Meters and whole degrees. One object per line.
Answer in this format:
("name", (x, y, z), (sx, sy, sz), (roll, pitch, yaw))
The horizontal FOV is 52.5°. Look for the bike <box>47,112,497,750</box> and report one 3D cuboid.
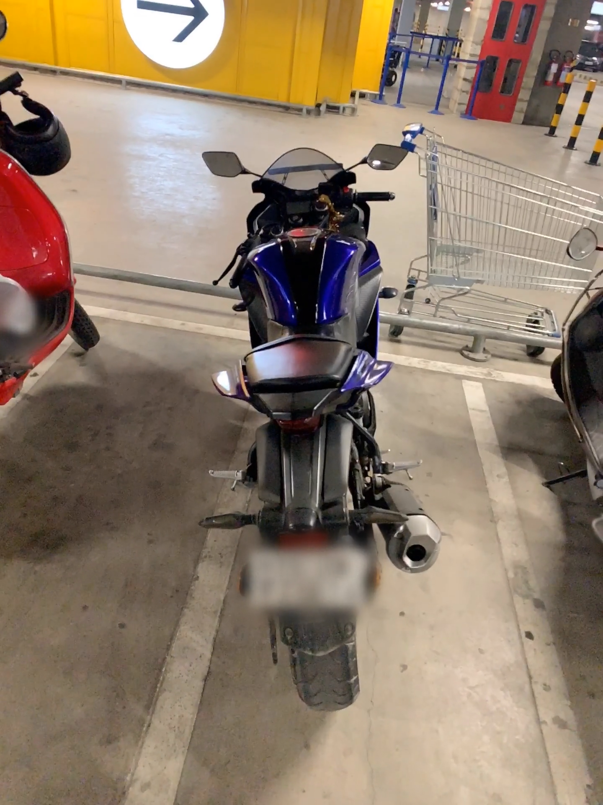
("bike", (-0.228, -0.112, 1.834), (0.687, 0.933, 1.657), (1, 36, -10))
